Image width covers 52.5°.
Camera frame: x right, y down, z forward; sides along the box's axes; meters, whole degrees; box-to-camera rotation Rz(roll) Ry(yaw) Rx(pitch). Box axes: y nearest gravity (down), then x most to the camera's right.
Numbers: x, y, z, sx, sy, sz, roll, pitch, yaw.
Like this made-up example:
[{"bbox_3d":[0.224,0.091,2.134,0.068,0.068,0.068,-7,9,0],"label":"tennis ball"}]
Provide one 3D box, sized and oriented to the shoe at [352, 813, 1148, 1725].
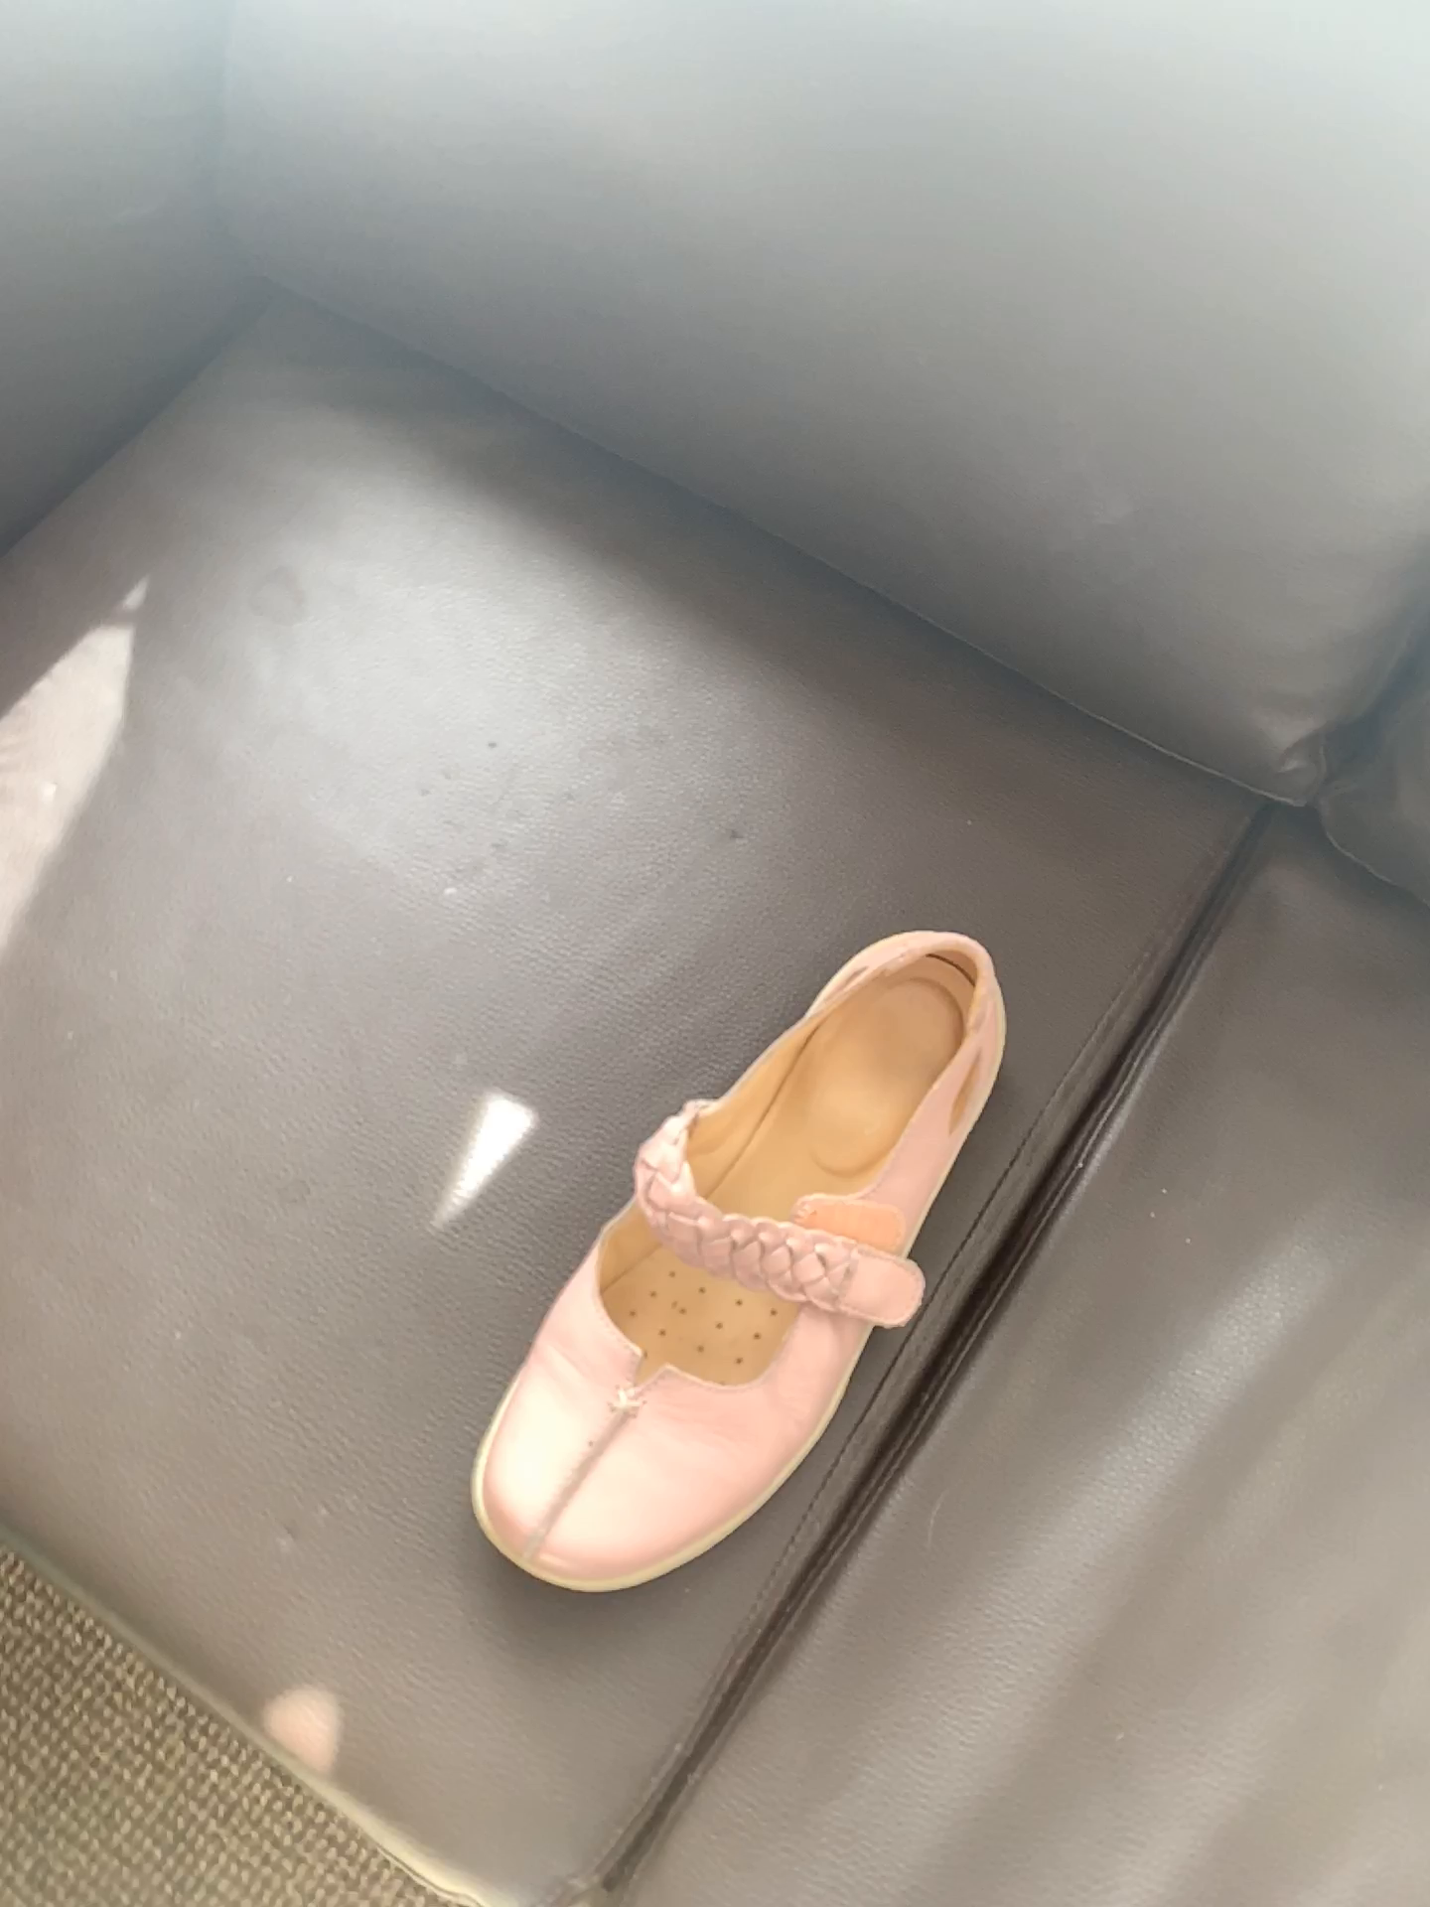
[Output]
[{"bbox_3d":[0.017,0.097,0.485,0.104,0.100,0.260,36,76,12],"label":"shoe"}]
